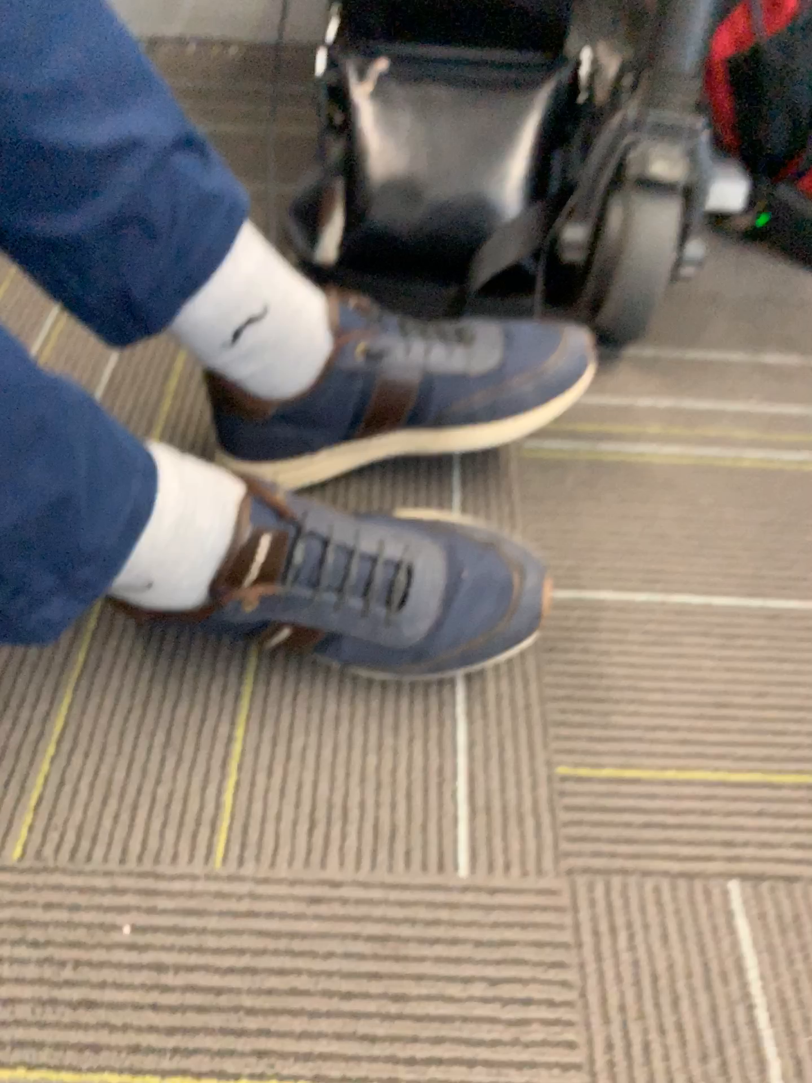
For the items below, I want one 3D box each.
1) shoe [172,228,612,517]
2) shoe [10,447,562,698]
[{"bbox_3d":[-0.010,-0.126,0.645,0.300,0.100,0.120,-12,49,5],"label":"shoe"},{"bbox_3d":[-0.071,0.018,0.542,0.320,0.100,0.120,3,76,17],"label":"shoe"}]
